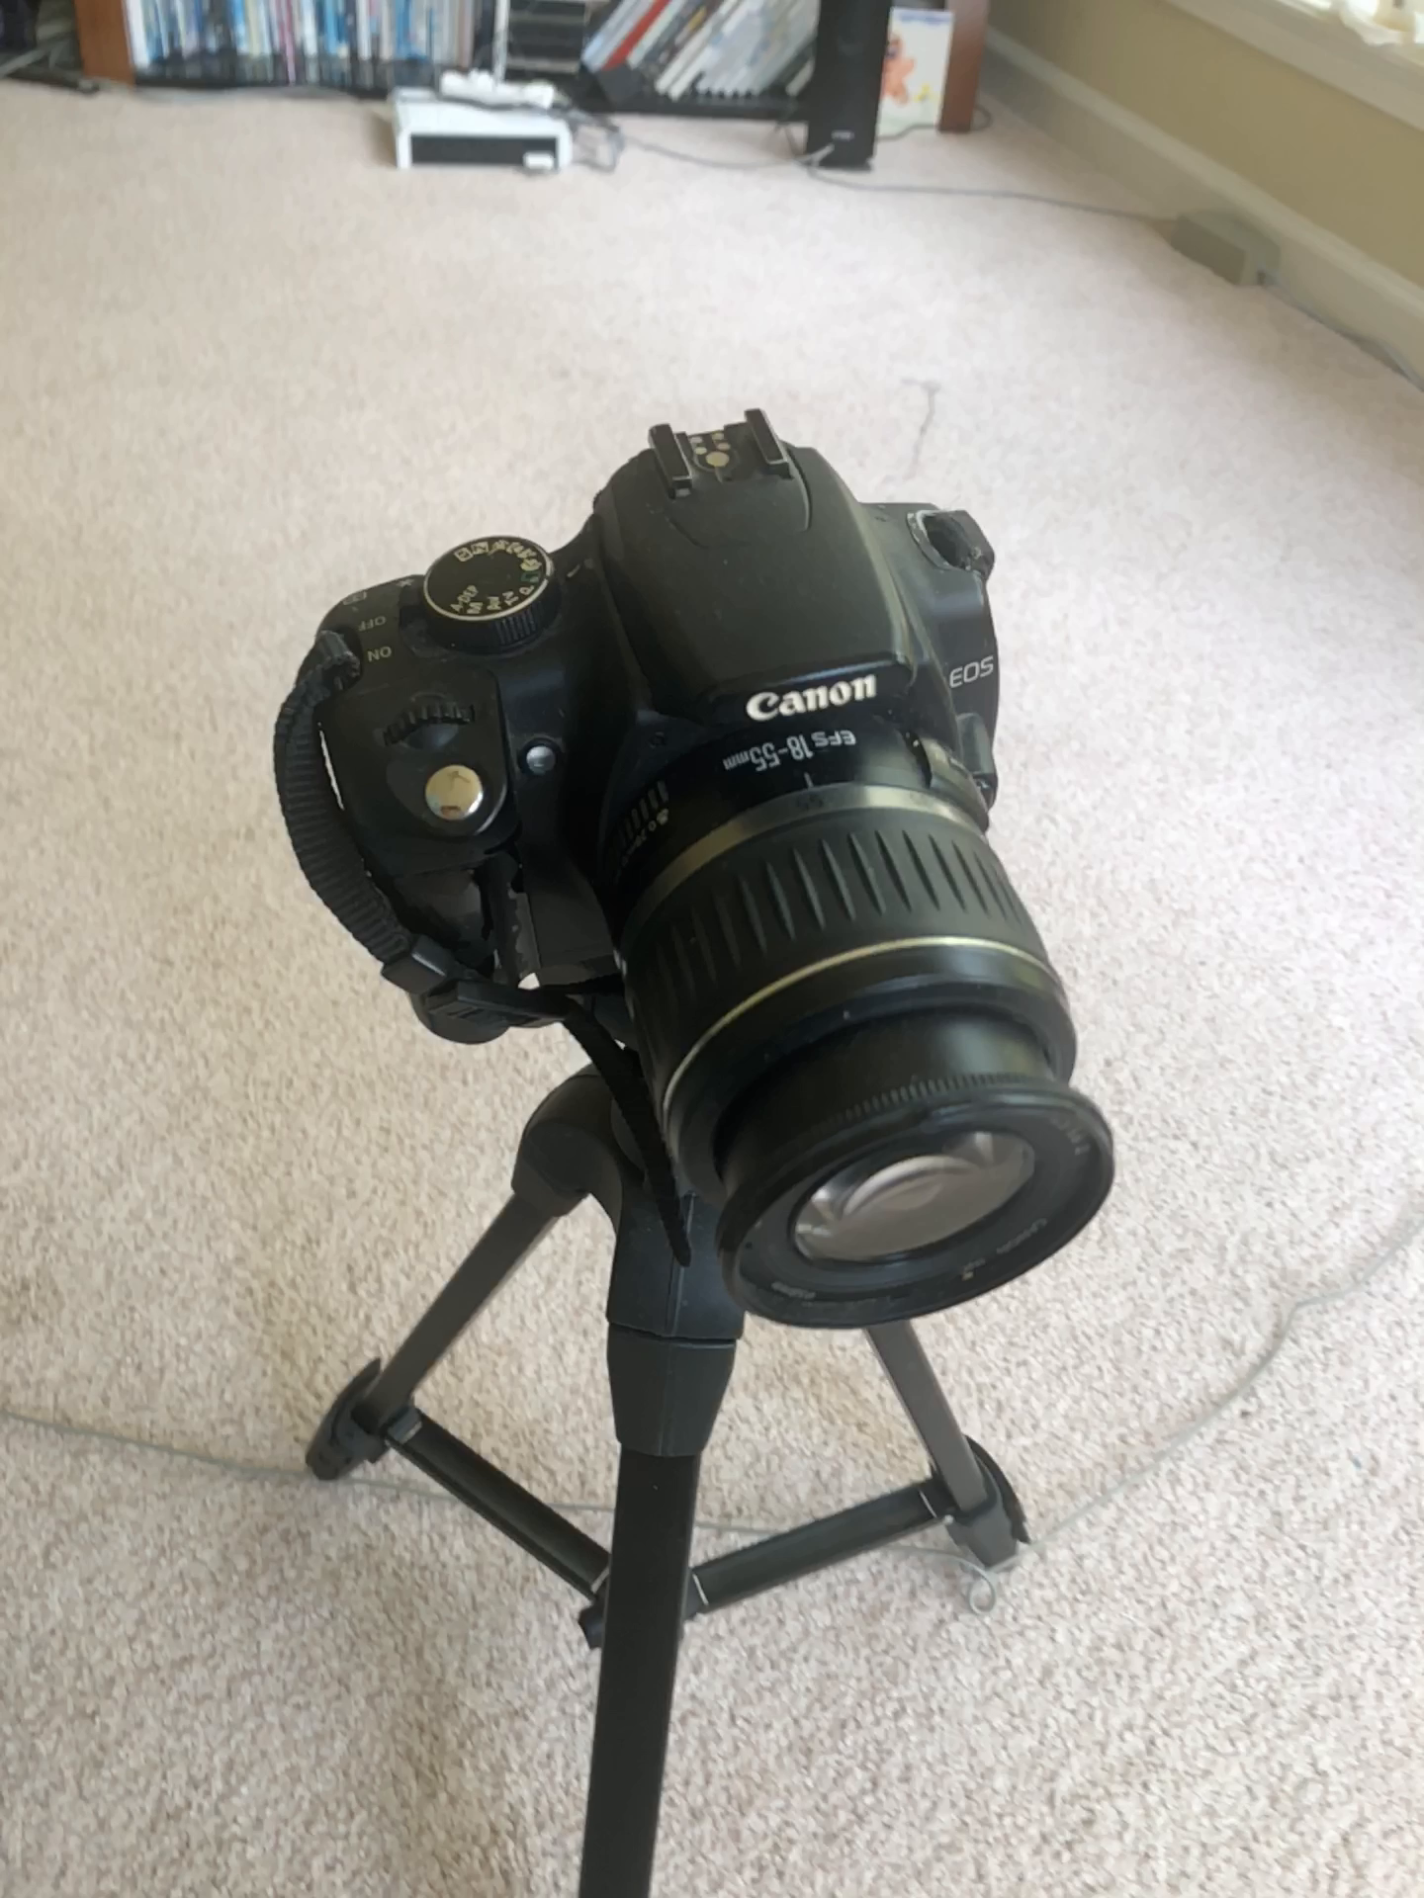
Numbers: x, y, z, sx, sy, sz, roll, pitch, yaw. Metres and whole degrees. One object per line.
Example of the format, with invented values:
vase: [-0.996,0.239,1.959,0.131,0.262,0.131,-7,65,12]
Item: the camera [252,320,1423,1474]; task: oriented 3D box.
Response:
camera: [0.008,-0.015,0.264,0.130,0.093,0.143,-14,53,-9]
